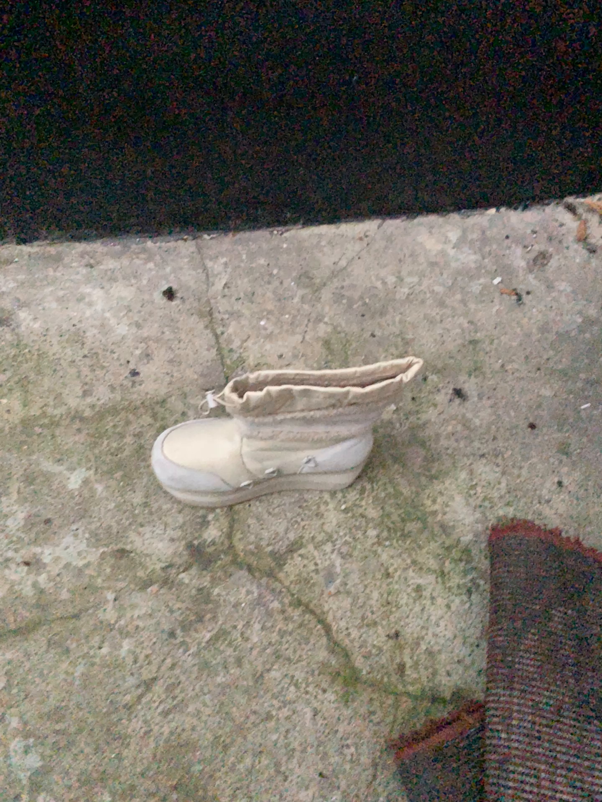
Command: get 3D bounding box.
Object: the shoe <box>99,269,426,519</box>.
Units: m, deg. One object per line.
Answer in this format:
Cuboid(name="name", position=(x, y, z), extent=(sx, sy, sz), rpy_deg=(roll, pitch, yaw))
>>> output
Cuboid(name="shoe", position=(-0.042, 0.011, 0.662), extent=(0.270, 0.298, 0.111), rpy_deg=(-6, 62, -6))
